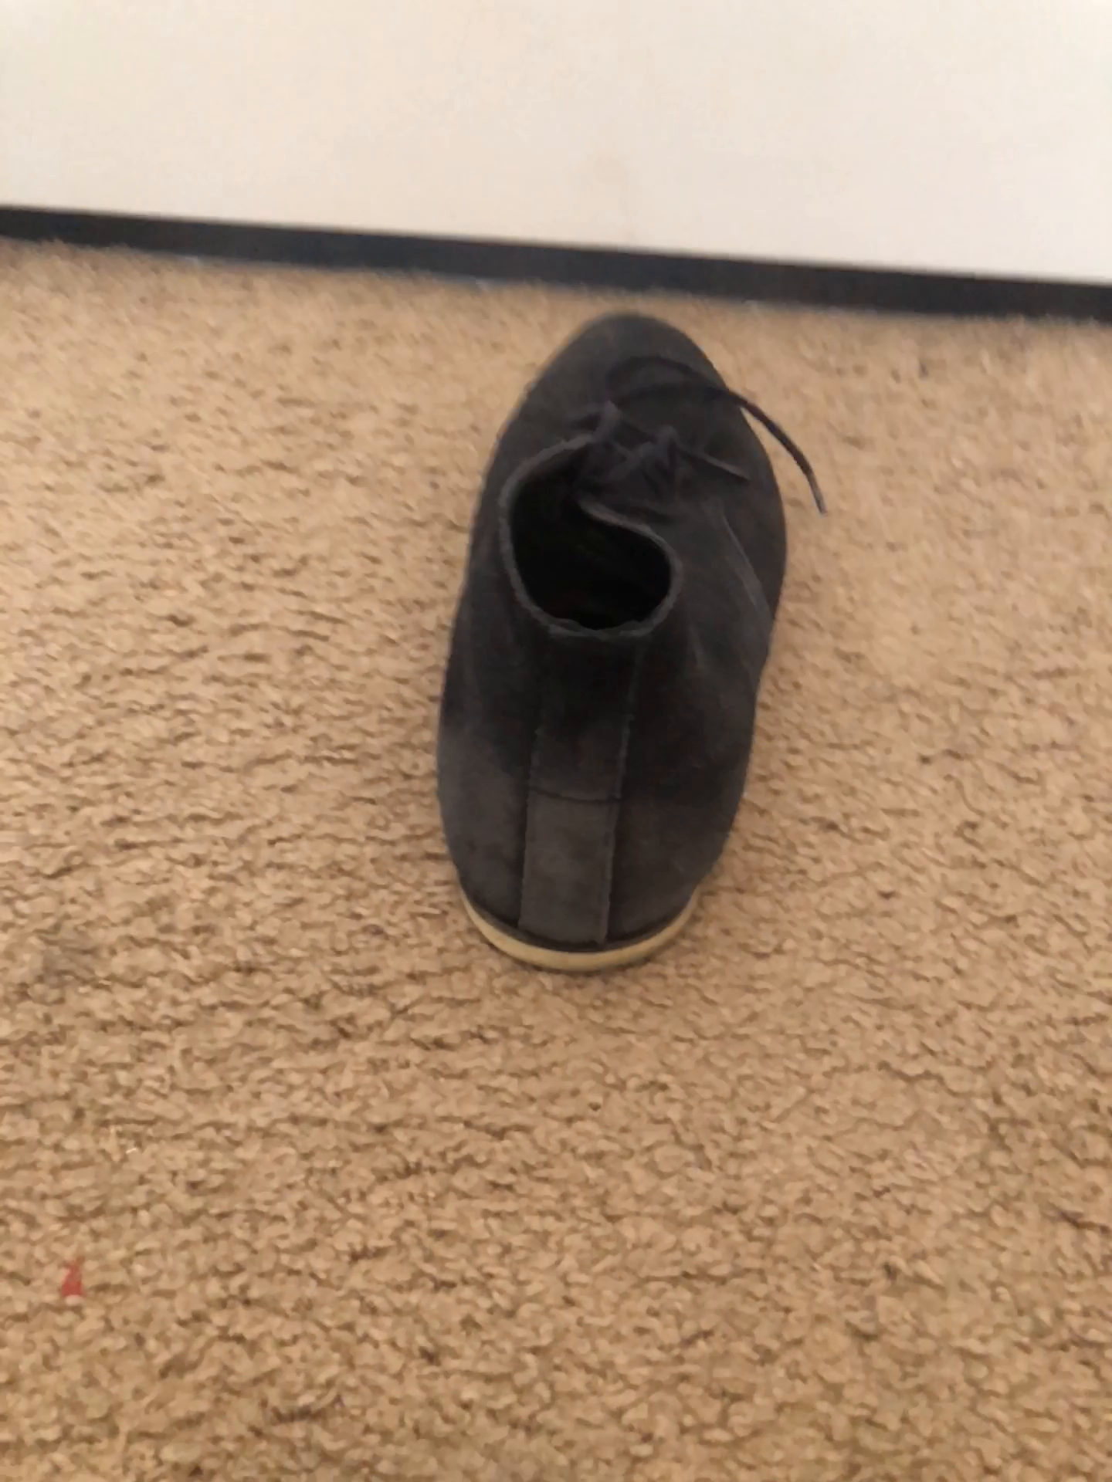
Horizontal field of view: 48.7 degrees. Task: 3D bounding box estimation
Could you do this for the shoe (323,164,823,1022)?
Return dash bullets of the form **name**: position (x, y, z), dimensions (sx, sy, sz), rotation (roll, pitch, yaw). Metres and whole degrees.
- **shoe**: position (0.021, -0.068, 0.378), dimensions (0.102, 0.095, 0.280), rotation (7, 47, 4)
